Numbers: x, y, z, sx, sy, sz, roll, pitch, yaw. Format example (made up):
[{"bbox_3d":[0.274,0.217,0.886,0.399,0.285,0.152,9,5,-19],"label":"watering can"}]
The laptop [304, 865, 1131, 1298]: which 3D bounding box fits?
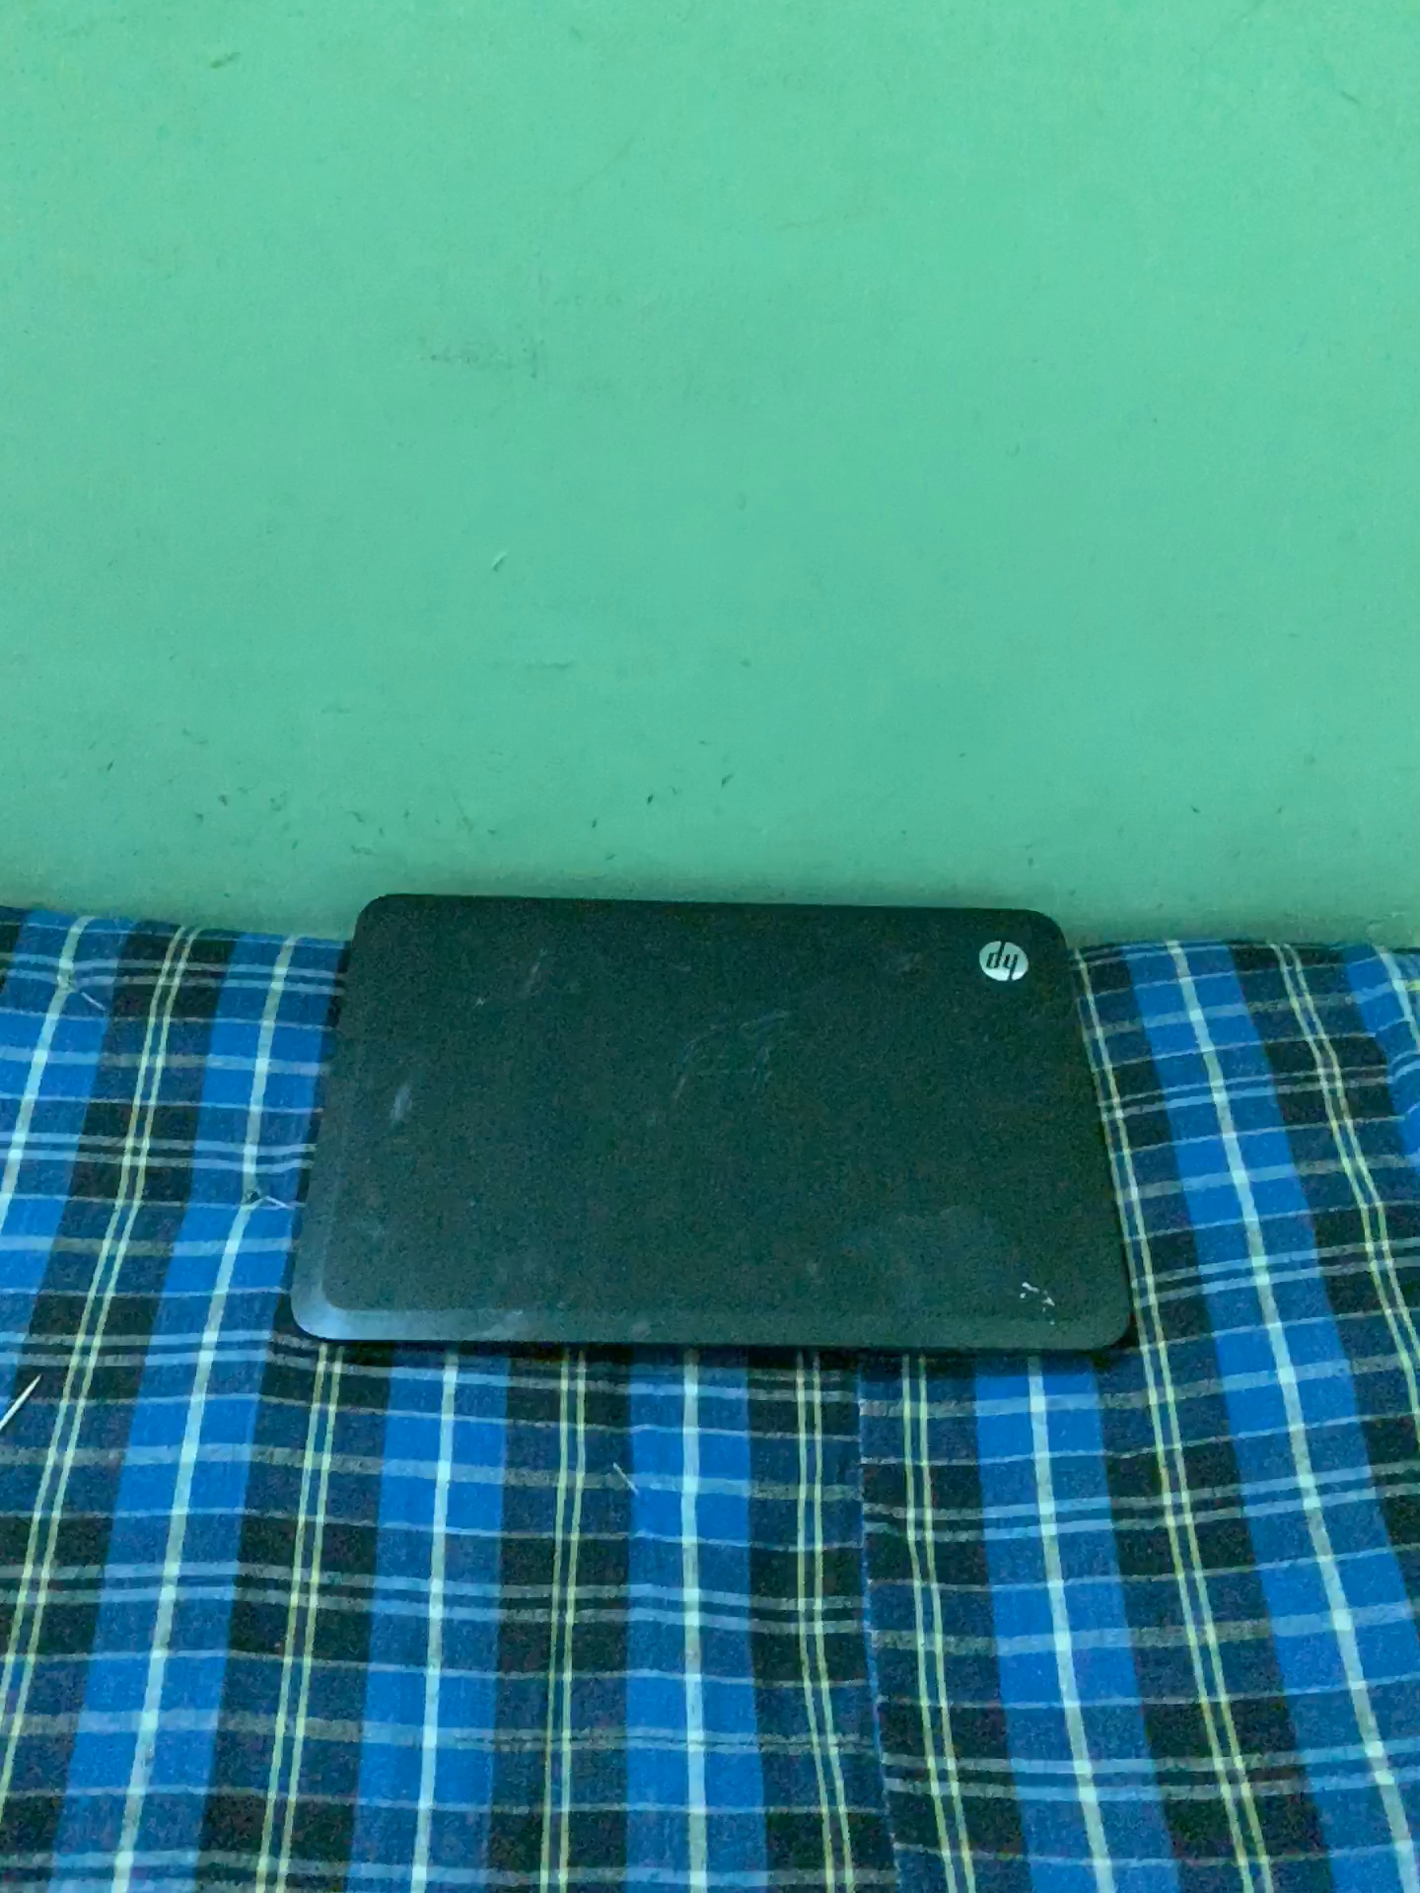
[{"bbox_3d":[0.004,0.056,0.675,0.346,0.018,0.217,1,55,-2],"label":"laptop"}]
